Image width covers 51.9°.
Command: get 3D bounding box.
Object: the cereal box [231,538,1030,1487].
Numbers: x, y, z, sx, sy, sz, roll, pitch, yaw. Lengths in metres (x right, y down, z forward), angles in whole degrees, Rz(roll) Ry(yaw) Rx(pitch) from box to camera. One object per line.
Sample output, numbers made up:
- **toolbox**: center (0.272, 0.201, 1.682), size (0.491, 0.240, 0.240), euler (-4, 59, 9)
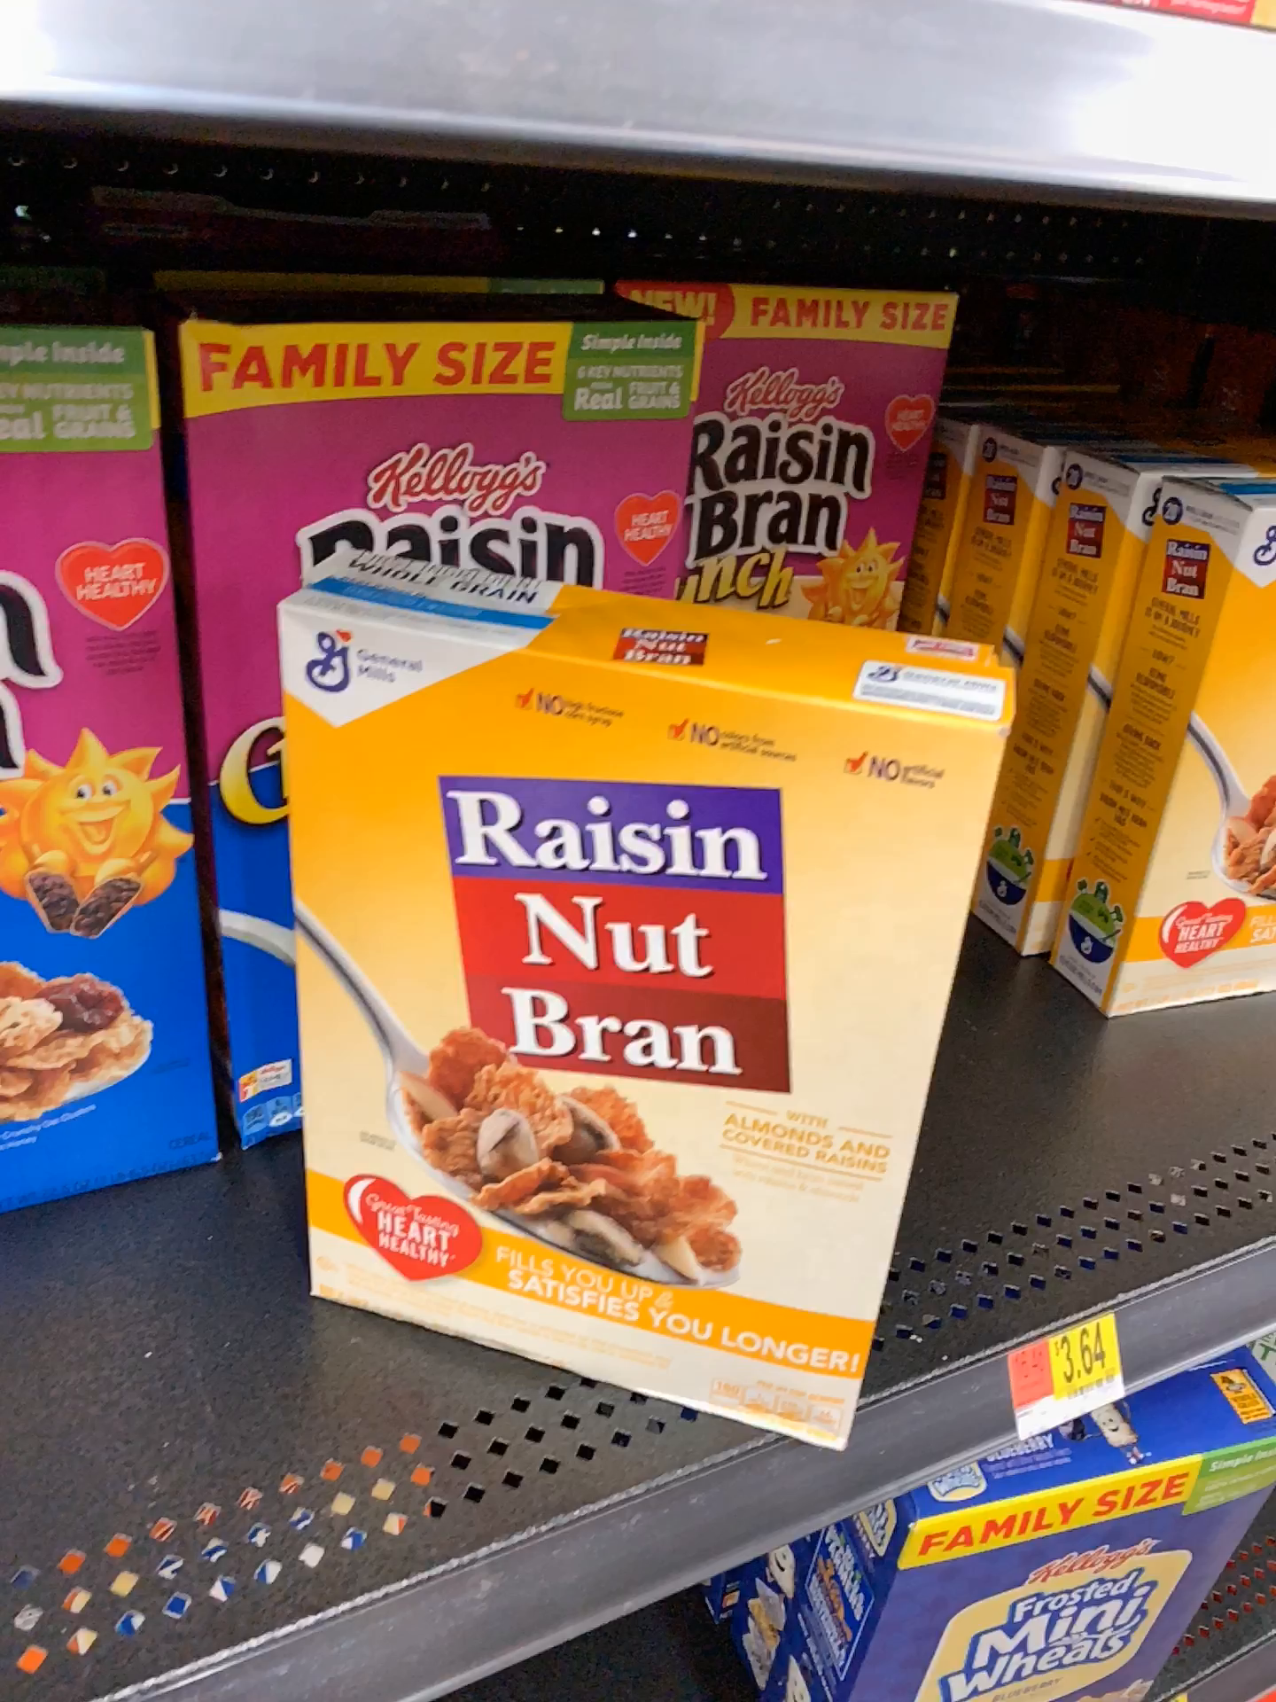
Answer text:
- **cereal box**: center (-0.011, 0.055, 0.403), size (0.200, 0.259, 0.060), euler (12, 29, 12)
